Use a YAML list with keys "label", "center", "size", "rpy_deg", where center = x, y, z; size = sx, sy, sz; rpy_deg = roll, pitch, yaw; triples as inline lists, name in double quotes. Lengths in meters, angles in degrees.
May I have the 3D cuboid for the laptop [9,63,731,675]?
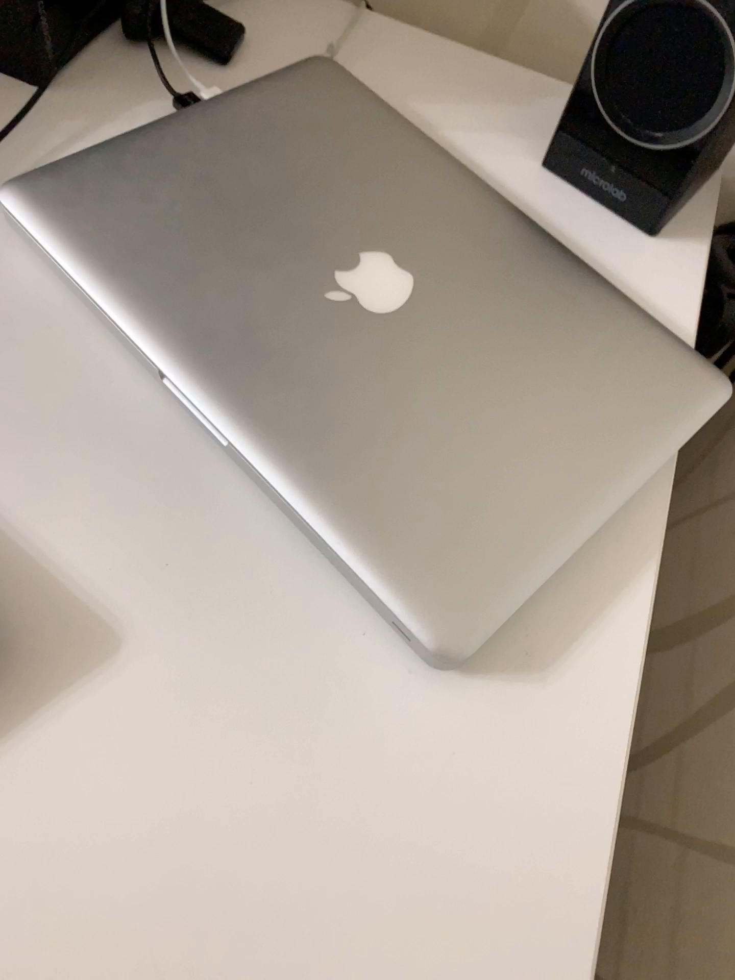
- label: "laptop"
  center: [0.006, -0.093, 0.386]
  size: [0.218, 0.007, 0.305]
  rpy_deg: [-38, 75, -25]
